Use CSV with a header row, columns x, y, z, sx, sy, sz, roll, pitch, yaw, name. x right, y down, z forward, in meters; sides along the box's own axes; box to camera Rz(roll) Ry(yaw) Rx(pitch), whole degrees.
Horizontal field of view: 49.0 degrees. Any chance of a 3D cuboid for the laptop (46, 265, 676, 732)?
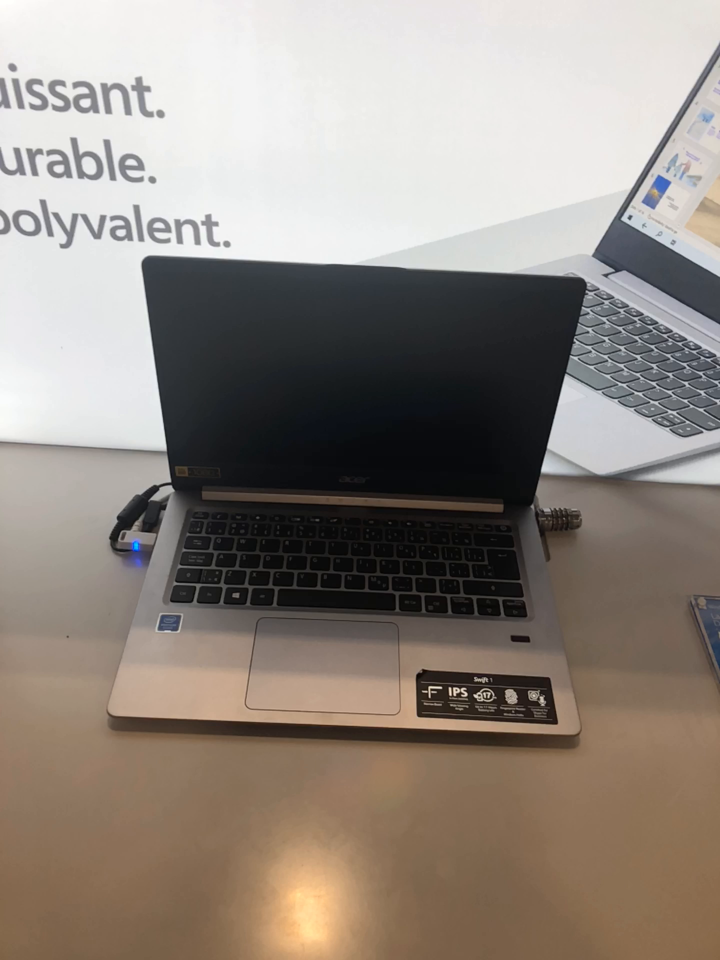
x,y,z,sx,sy,sz,roll,pitch,yaw,name
-0.002,0.007,0.543,0.311,0.210,0.227,3,40,-1,laptop
